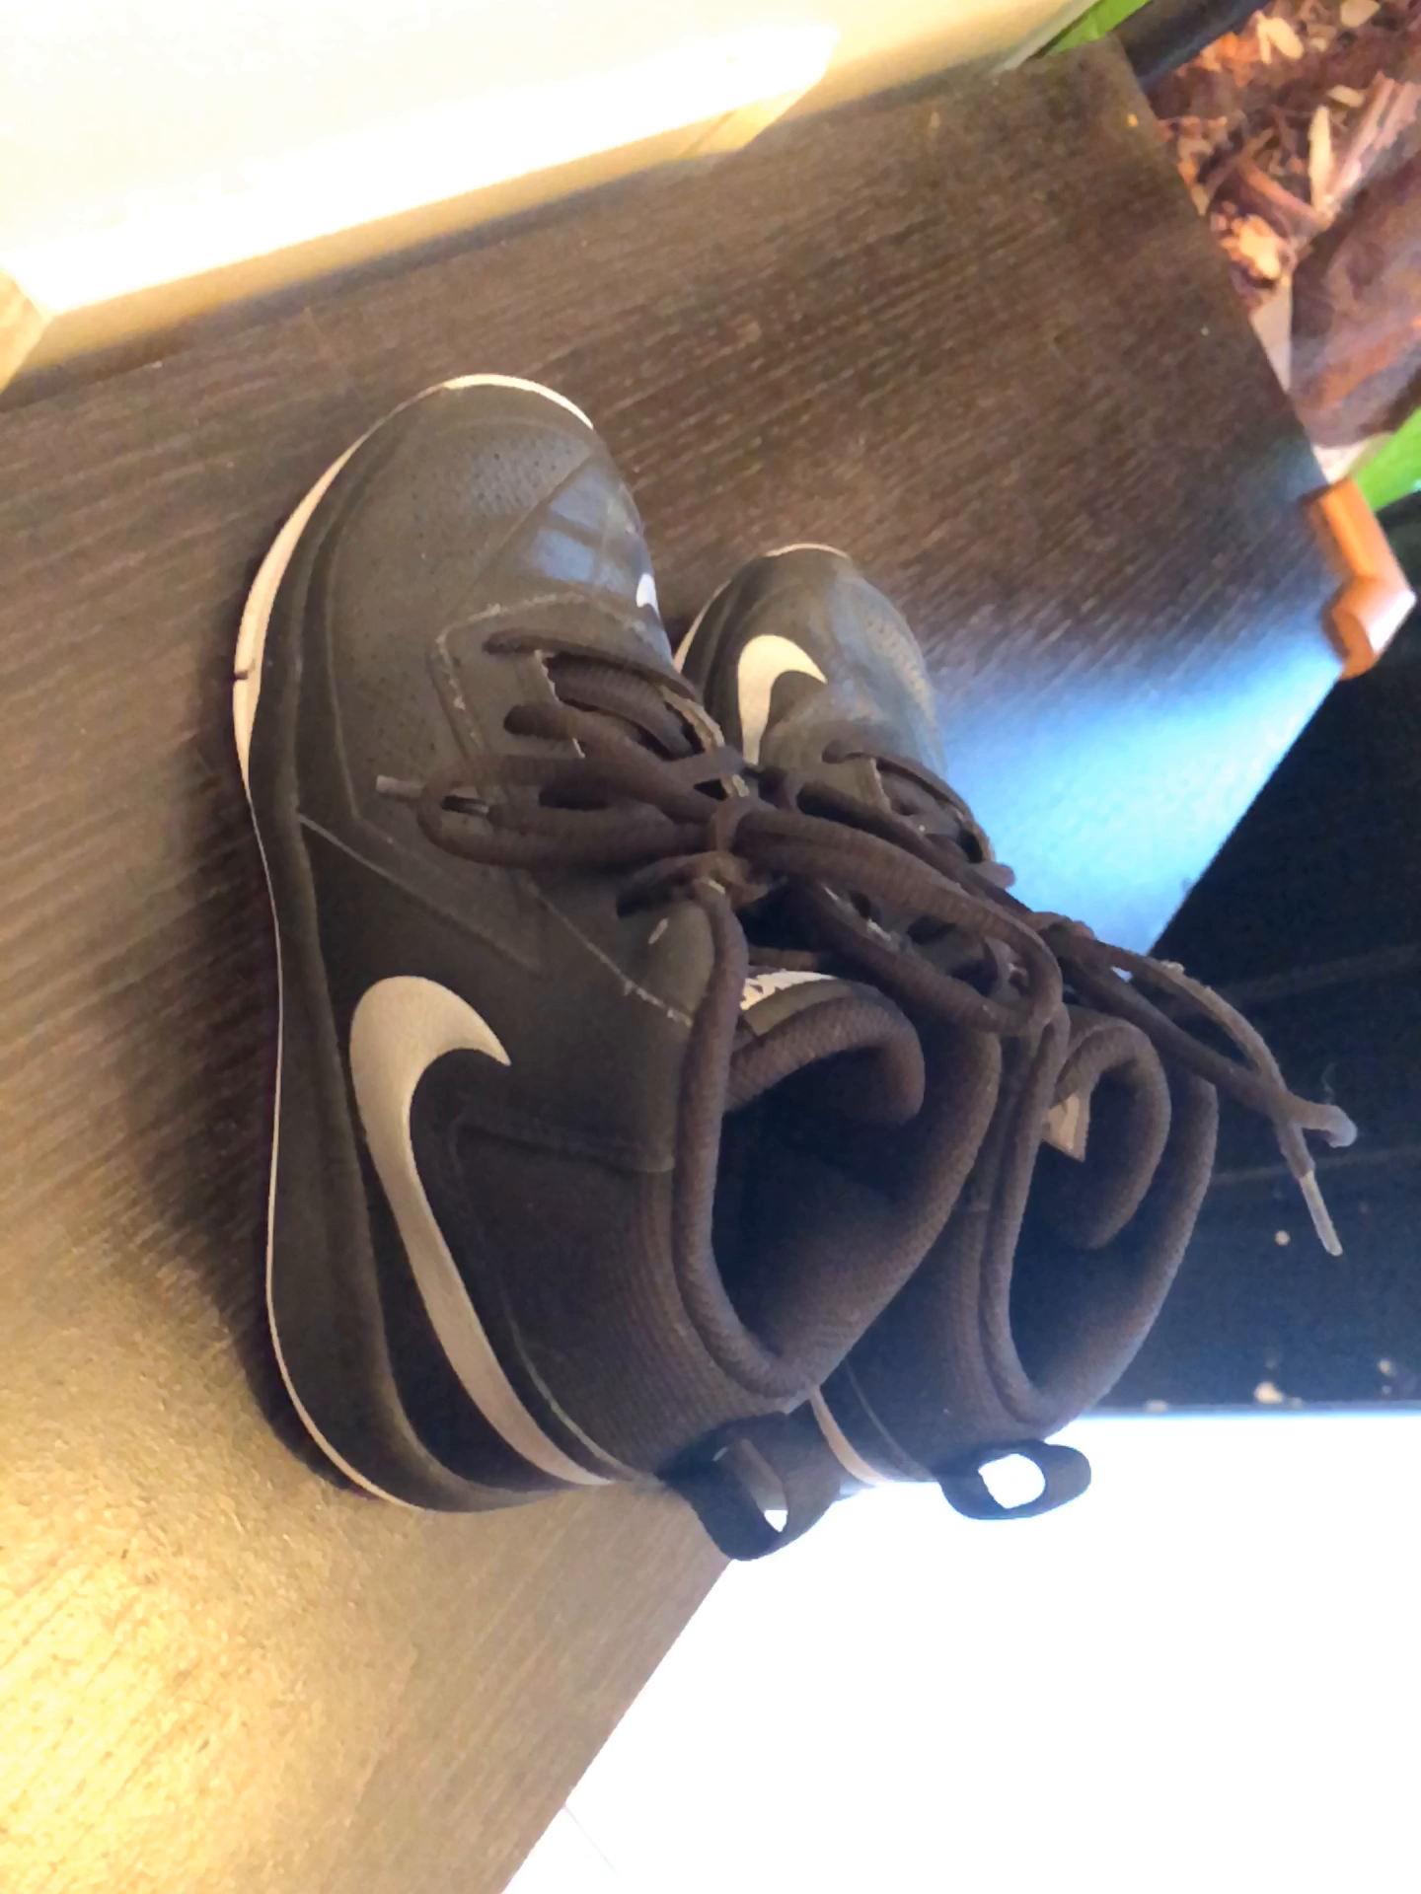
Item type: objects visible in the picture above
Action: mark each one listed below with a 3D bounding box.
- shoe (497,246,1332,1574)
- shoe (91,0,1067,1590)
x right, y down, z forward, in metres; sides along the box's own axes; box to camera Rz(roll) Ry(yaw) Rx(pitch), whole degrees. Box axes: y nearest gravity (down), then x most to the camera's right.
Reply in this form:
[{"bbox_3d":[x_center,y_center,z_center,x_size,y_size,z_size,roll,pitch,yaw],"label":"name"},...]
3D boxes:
[{"bbox_3d":[0.041,0.003,0.353,0.100,0.129,0.251,19,64,-38],"label":"shoe"},{"bbox_3d":[-0.031,-0.030,0.292,0.100,0.129,0.260,12,68,-40],"label":"shoe"}]
